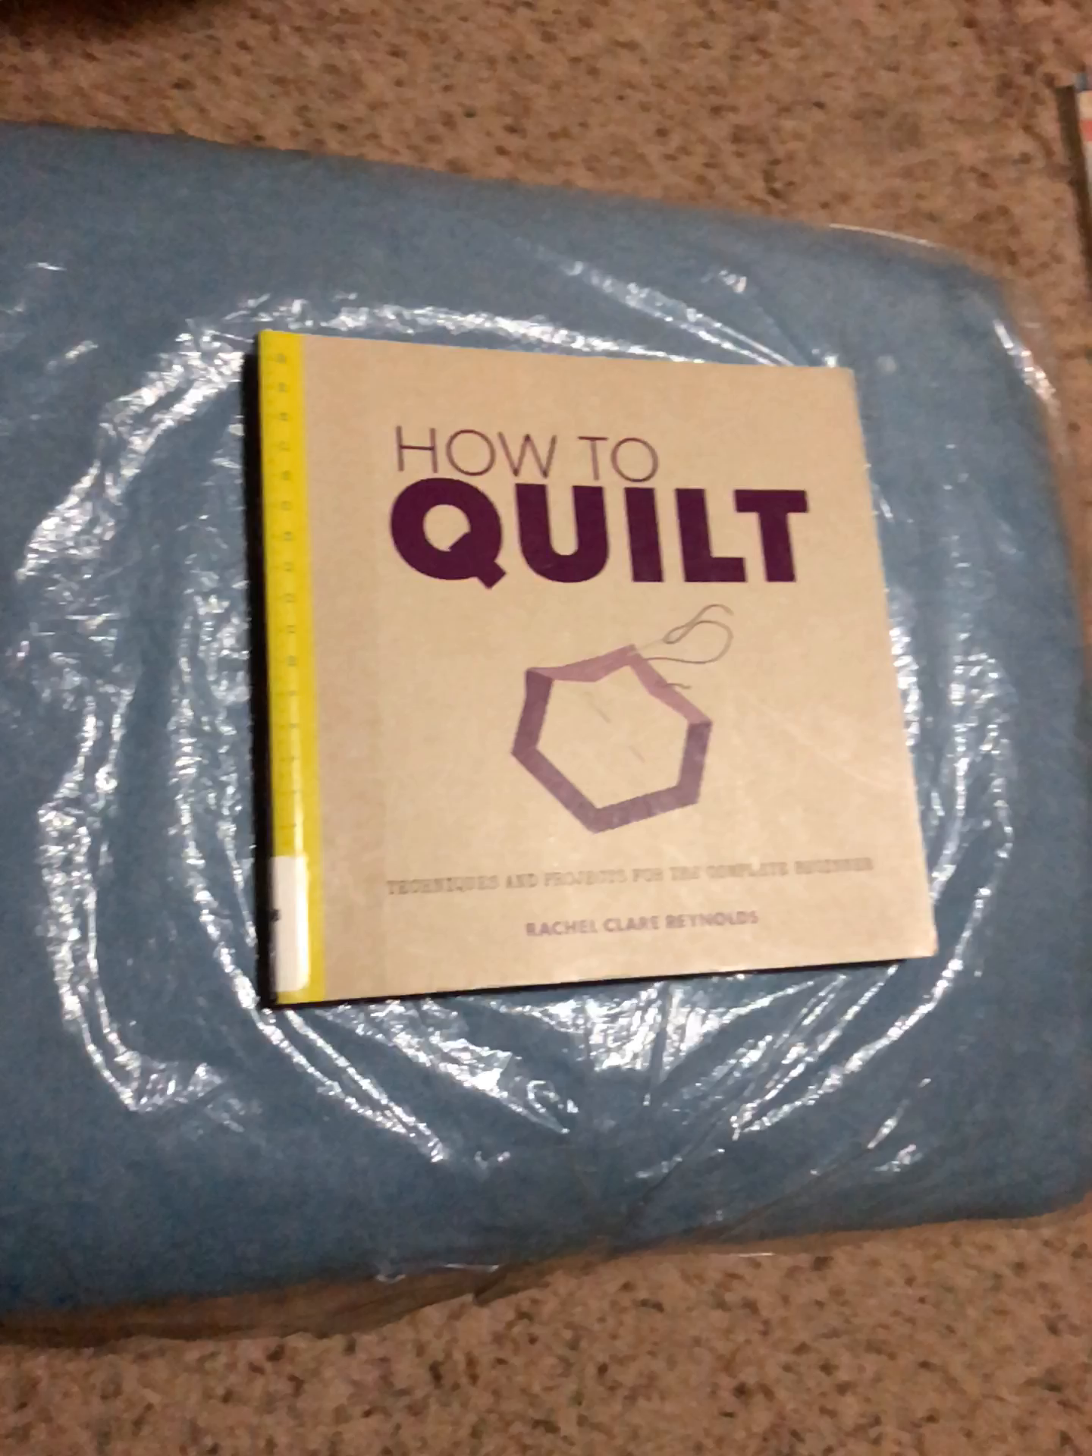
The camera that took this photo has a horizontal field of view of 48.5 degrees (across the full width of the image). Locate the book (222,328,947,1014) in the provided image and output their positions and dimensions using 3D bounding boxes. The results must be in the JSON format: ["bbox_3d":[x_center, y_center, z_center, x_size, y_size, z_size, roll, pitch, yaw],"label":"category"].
[{"bbox_3d":[0.011,-0.021,0.367,0.208,0.020,0.194,-1,78,-15],"label":"book"}]
